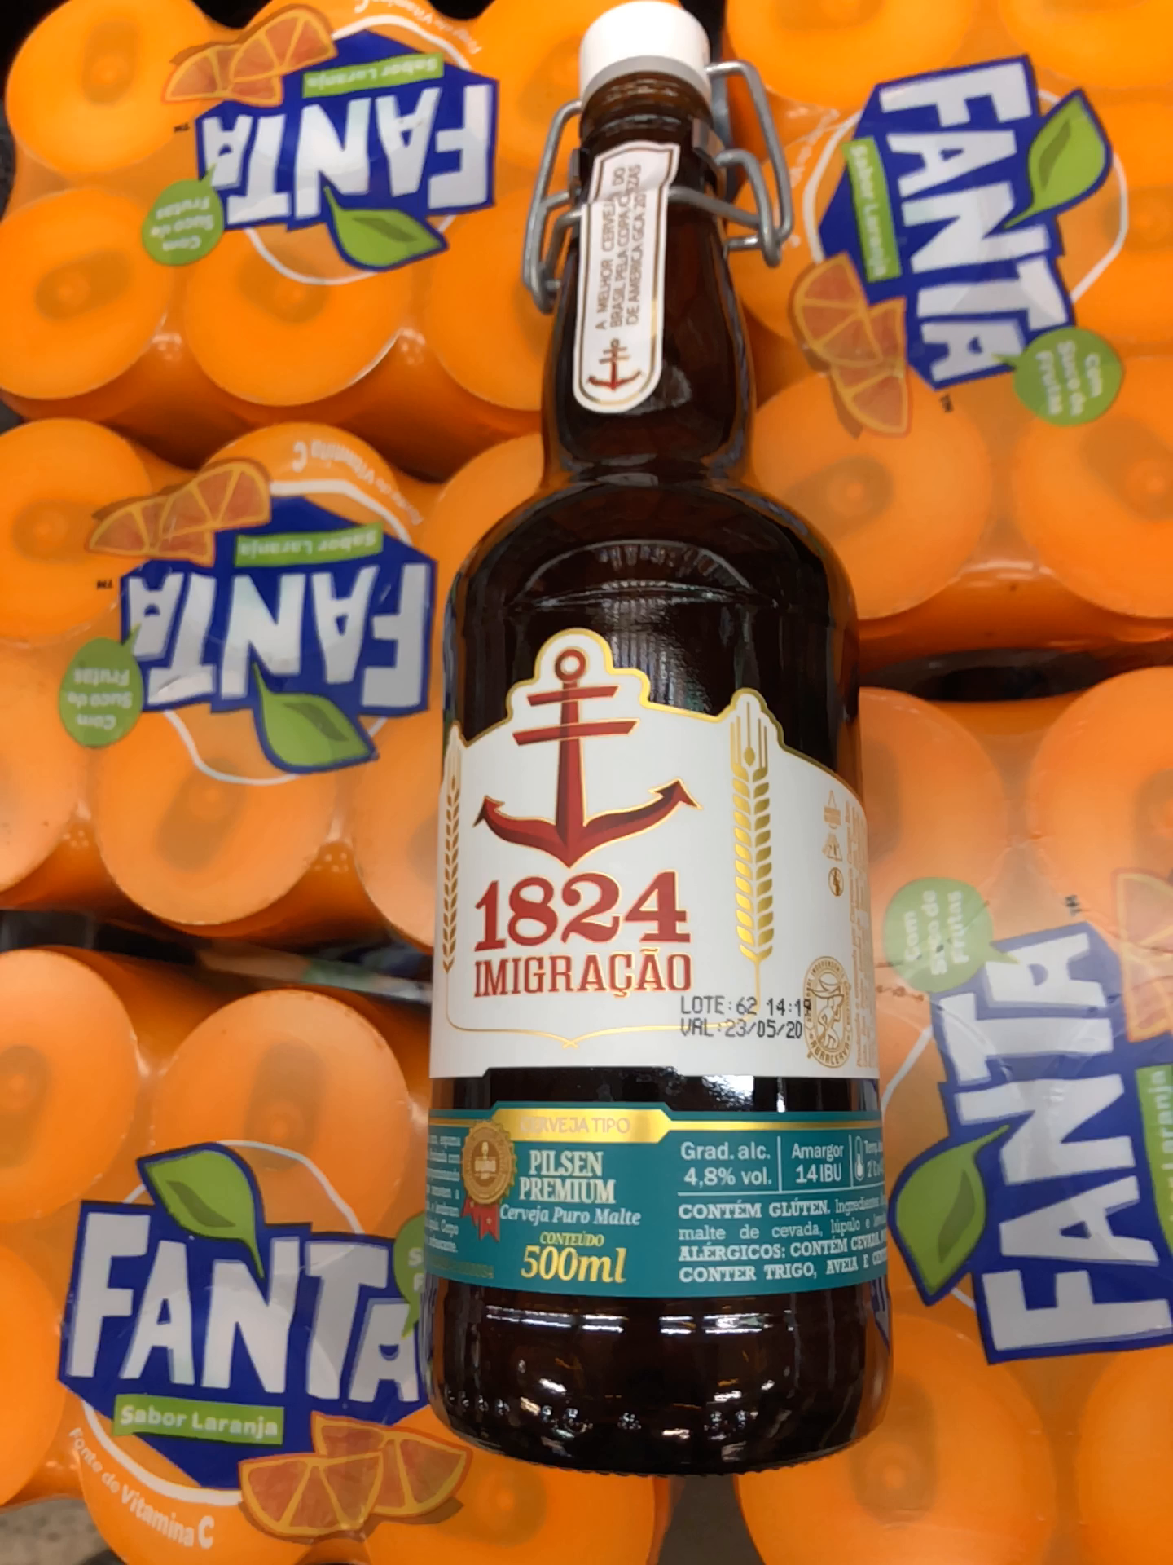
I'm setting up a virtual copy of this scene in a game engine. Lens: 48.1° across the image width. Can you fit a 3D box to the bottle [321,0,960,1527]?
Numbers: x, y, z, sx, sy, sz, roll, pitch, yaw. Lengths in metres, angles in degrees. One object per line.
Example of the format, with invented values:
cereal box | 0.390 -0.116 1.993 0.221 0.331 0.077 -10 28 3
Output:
bottle | 0.008 -0.028 0.212 0.080 0.050 0.250 -2 79 9
